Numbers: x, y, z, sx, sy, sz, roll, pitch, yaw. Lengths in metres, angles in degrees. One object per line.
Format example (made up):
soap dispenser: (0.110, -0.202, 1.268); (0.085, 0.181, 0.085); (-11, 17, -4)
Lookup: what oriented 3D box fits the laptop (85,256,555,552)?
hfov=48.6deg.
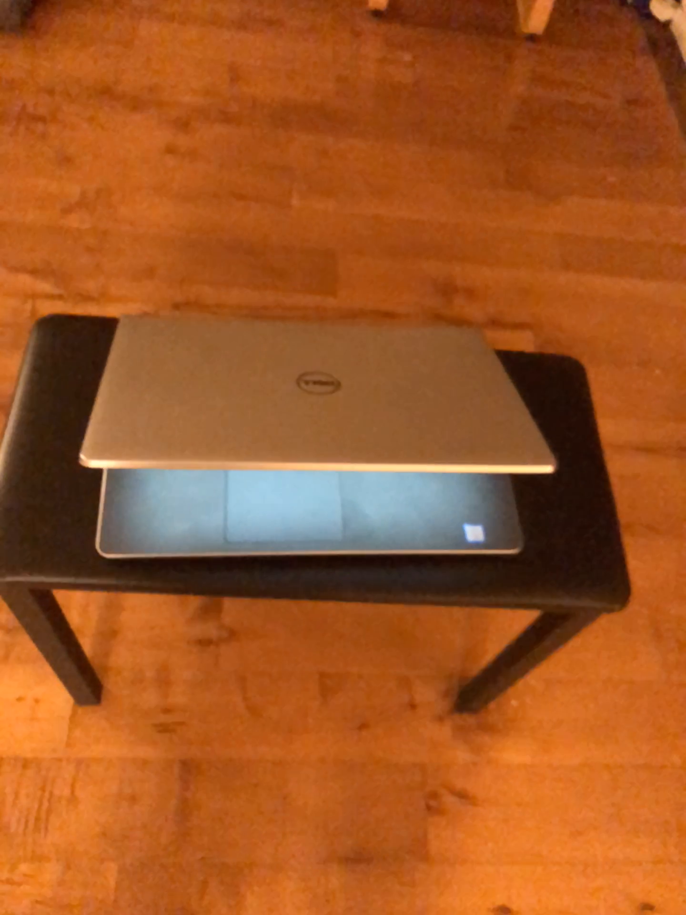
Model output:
laptop: (-0.027, -0.048, 0.698); (0.365, 0.107, 0.248); (1, 57, -9)
